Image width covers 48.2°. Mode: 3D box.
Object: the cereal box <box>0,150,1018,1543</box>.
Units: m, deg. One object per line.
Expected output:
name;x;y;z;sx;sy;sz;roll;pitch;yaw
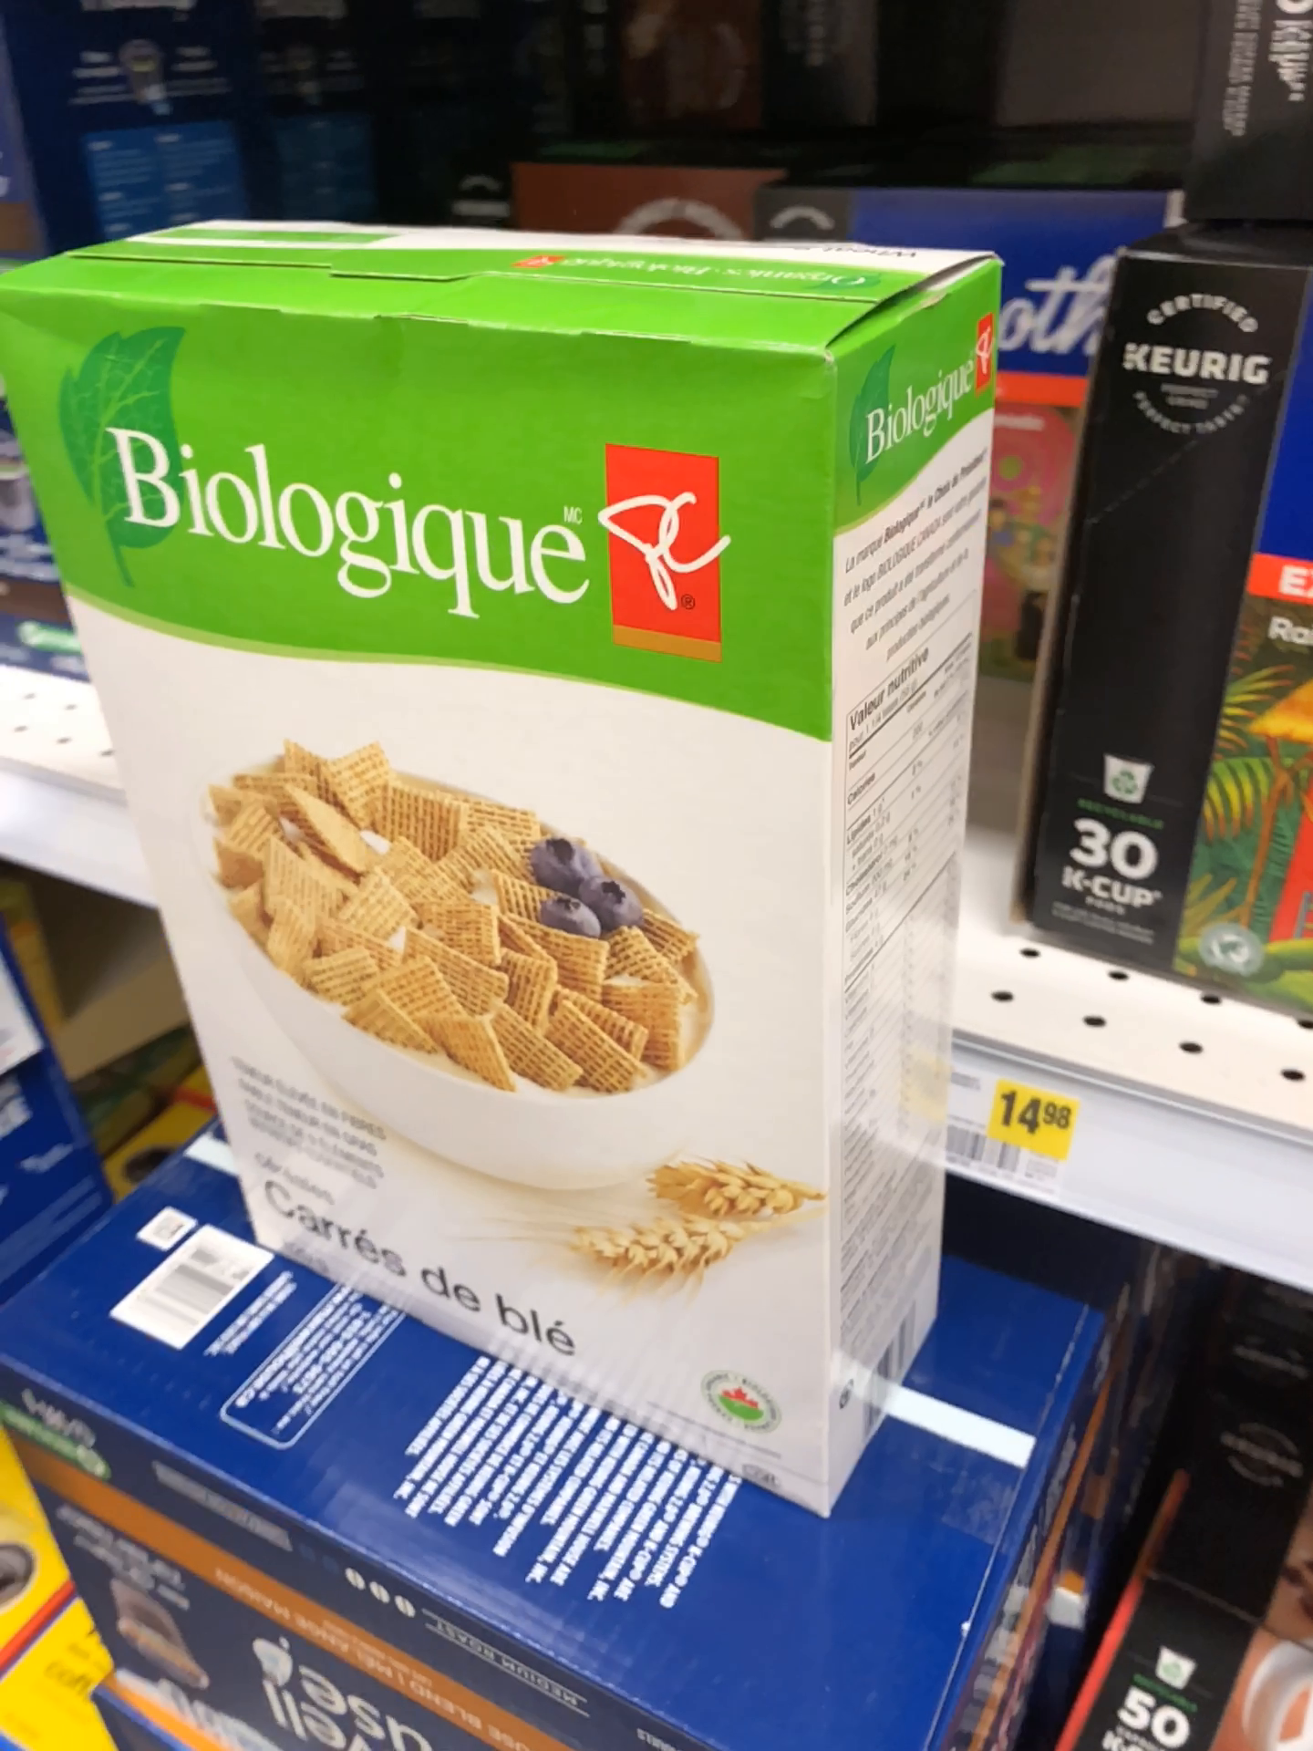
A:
cereal box;-0.038;-0.004;0.343;0.210;0.289;0.070;16;40;28
